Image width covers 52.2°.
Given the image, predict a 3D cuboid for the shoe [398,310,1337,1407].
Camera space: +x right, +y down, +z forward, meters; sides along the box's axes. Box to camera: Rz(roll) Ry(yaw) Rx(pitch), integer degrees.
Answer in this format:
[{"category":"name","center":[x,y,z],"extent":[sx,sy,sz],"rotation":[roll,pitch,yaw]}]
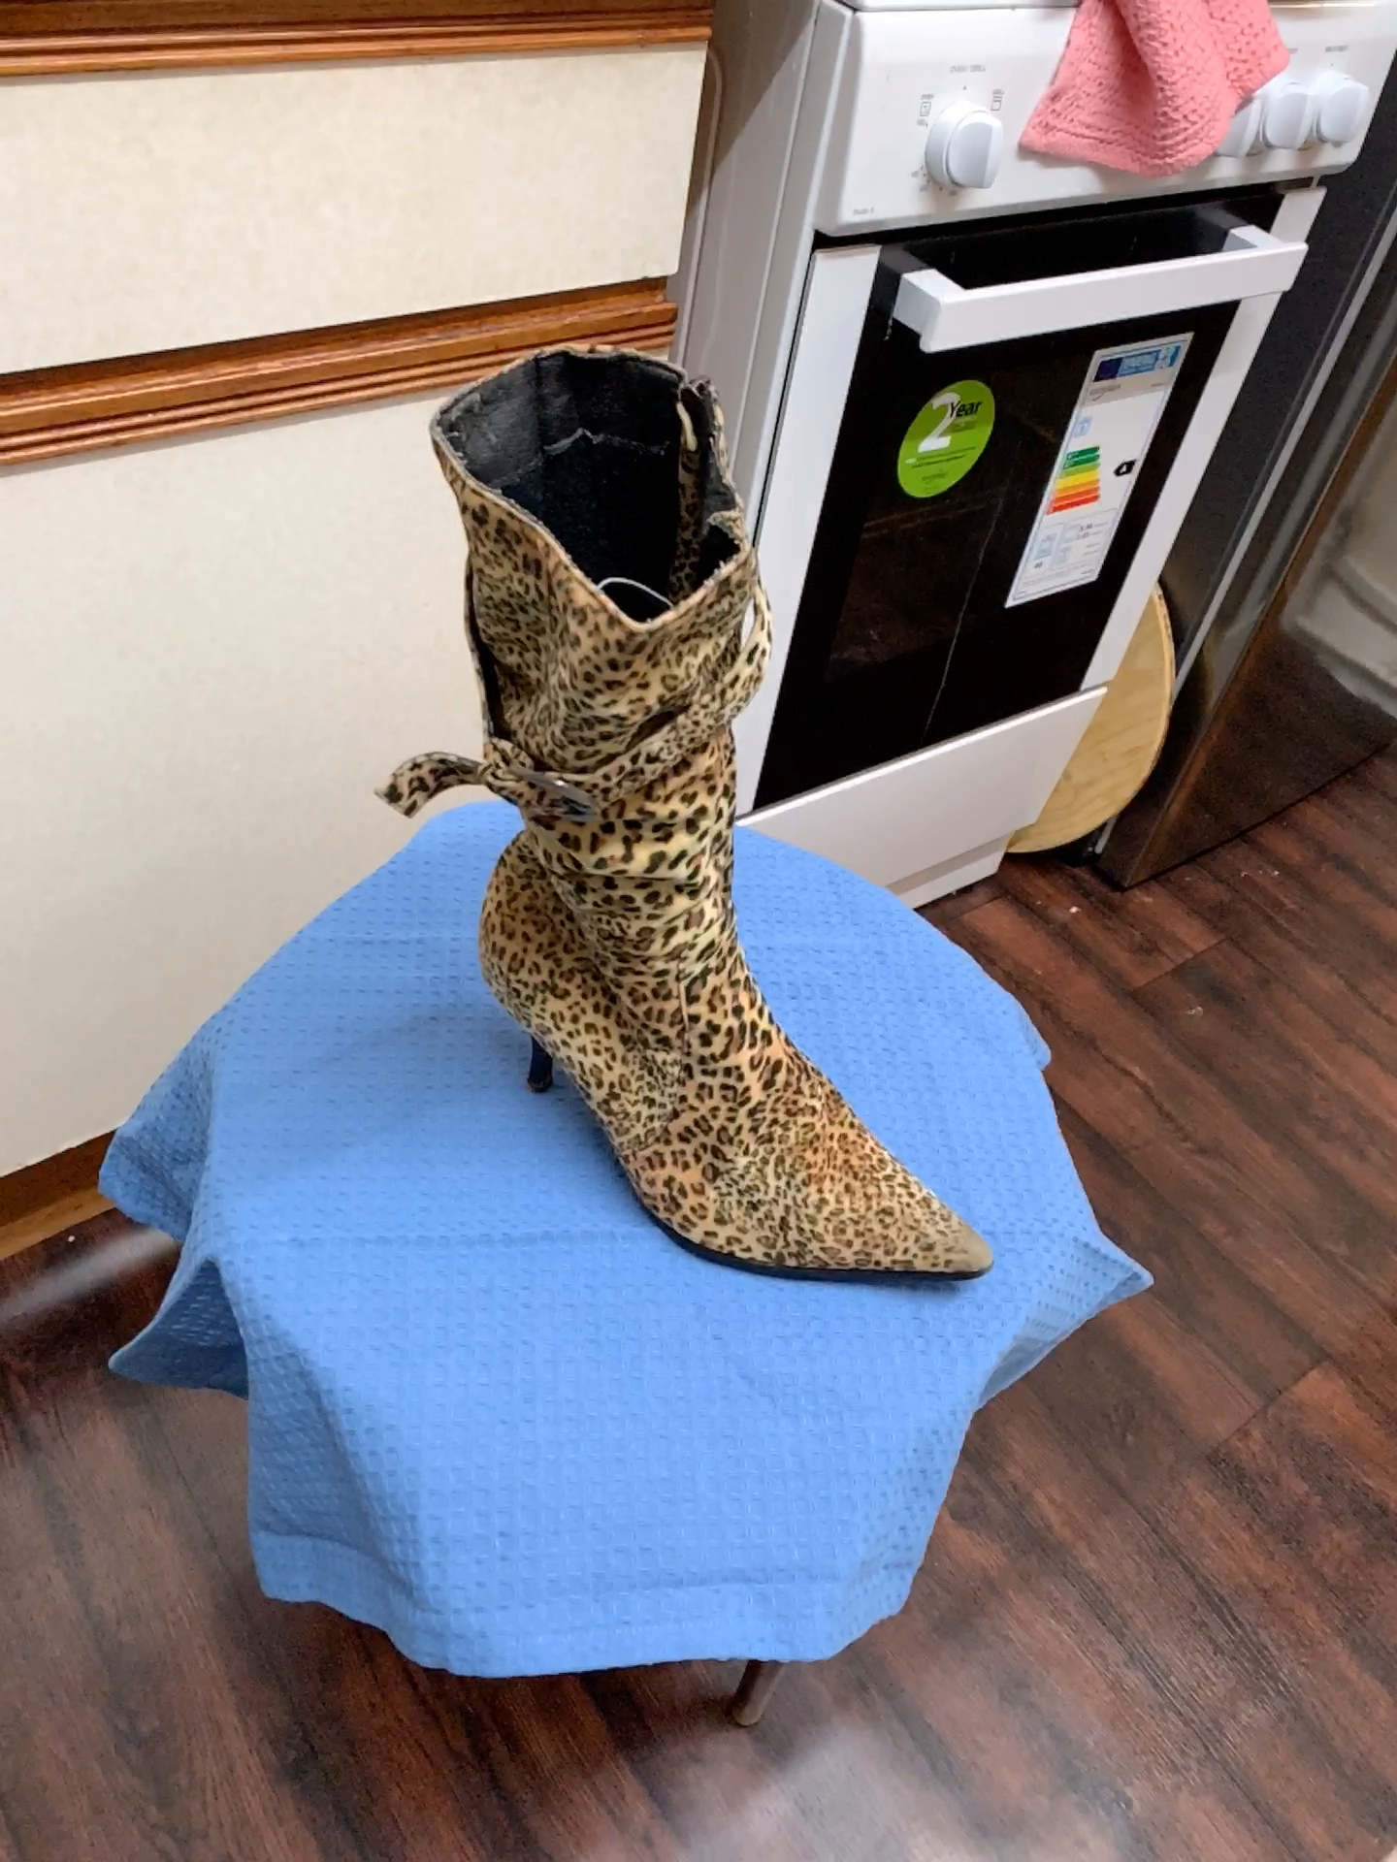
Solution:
[{"category":"shoe","center":[0.026,-0.005,0.537],"extent":[0.260,0.347,0.101],"rotation":[25,46,13]}]
